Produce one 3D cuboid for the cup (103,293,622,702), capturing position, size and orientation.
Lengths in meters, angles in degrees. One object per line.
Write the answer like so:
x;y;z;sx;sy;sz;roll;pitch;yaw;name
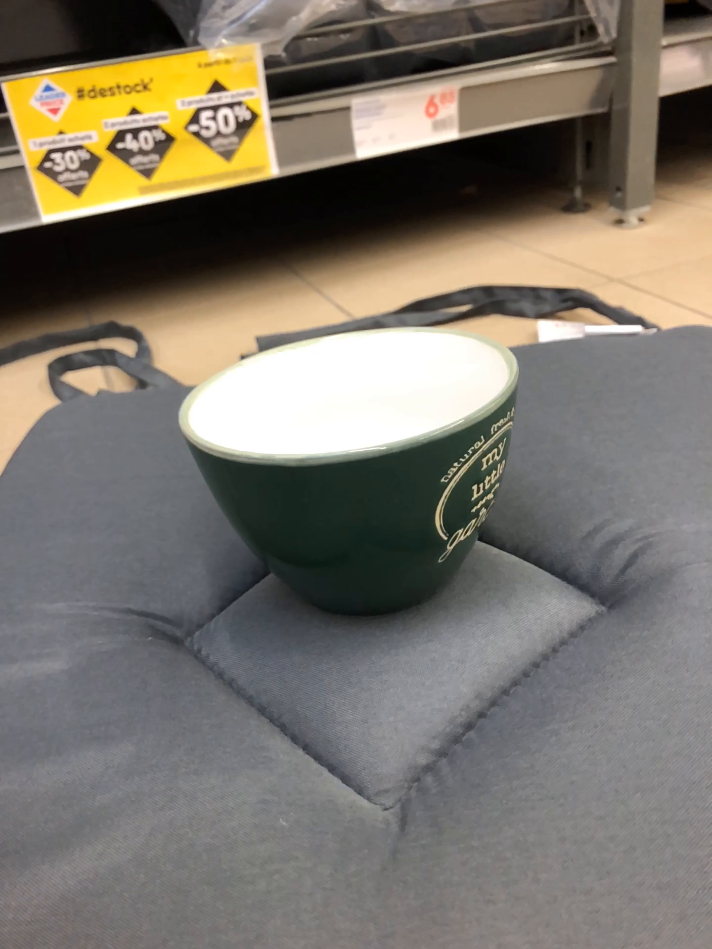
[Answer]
0.008;-0.008;0.279;0.120;0.060;0.131;-6;31;4;cup
